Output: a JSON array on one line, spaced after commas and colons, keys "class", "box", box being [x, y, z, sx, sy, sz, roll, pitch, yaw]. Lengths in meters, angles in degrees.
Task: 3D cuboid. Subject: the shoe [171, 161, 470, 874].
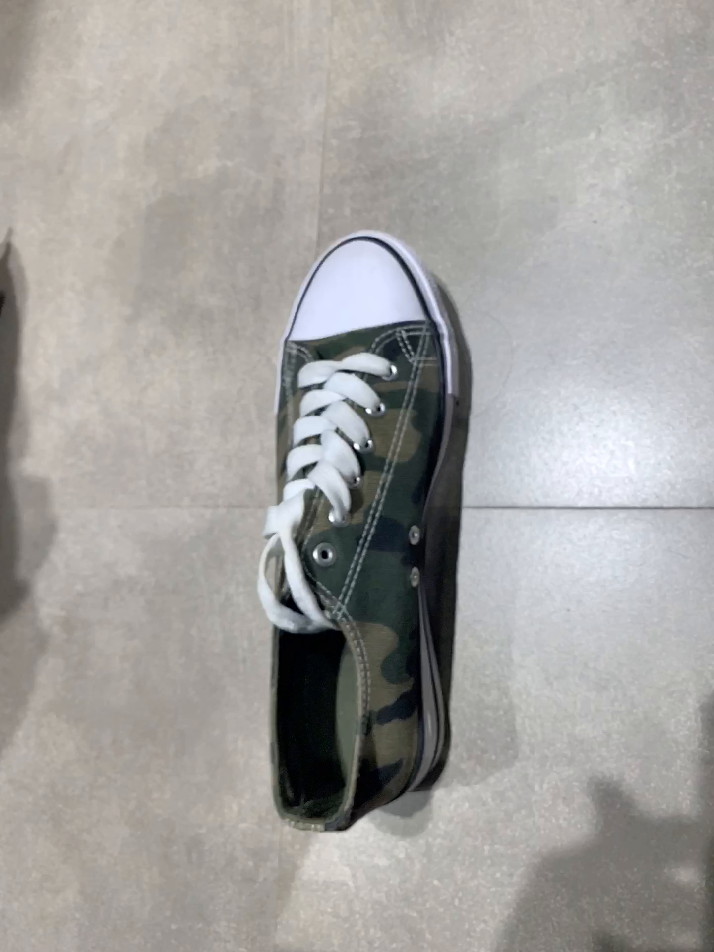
[{"class": "shoe", "box": [-0.011, 0.014, 0.332, 0.099, 0.079, 0.266, -4, 79, 24]}]
